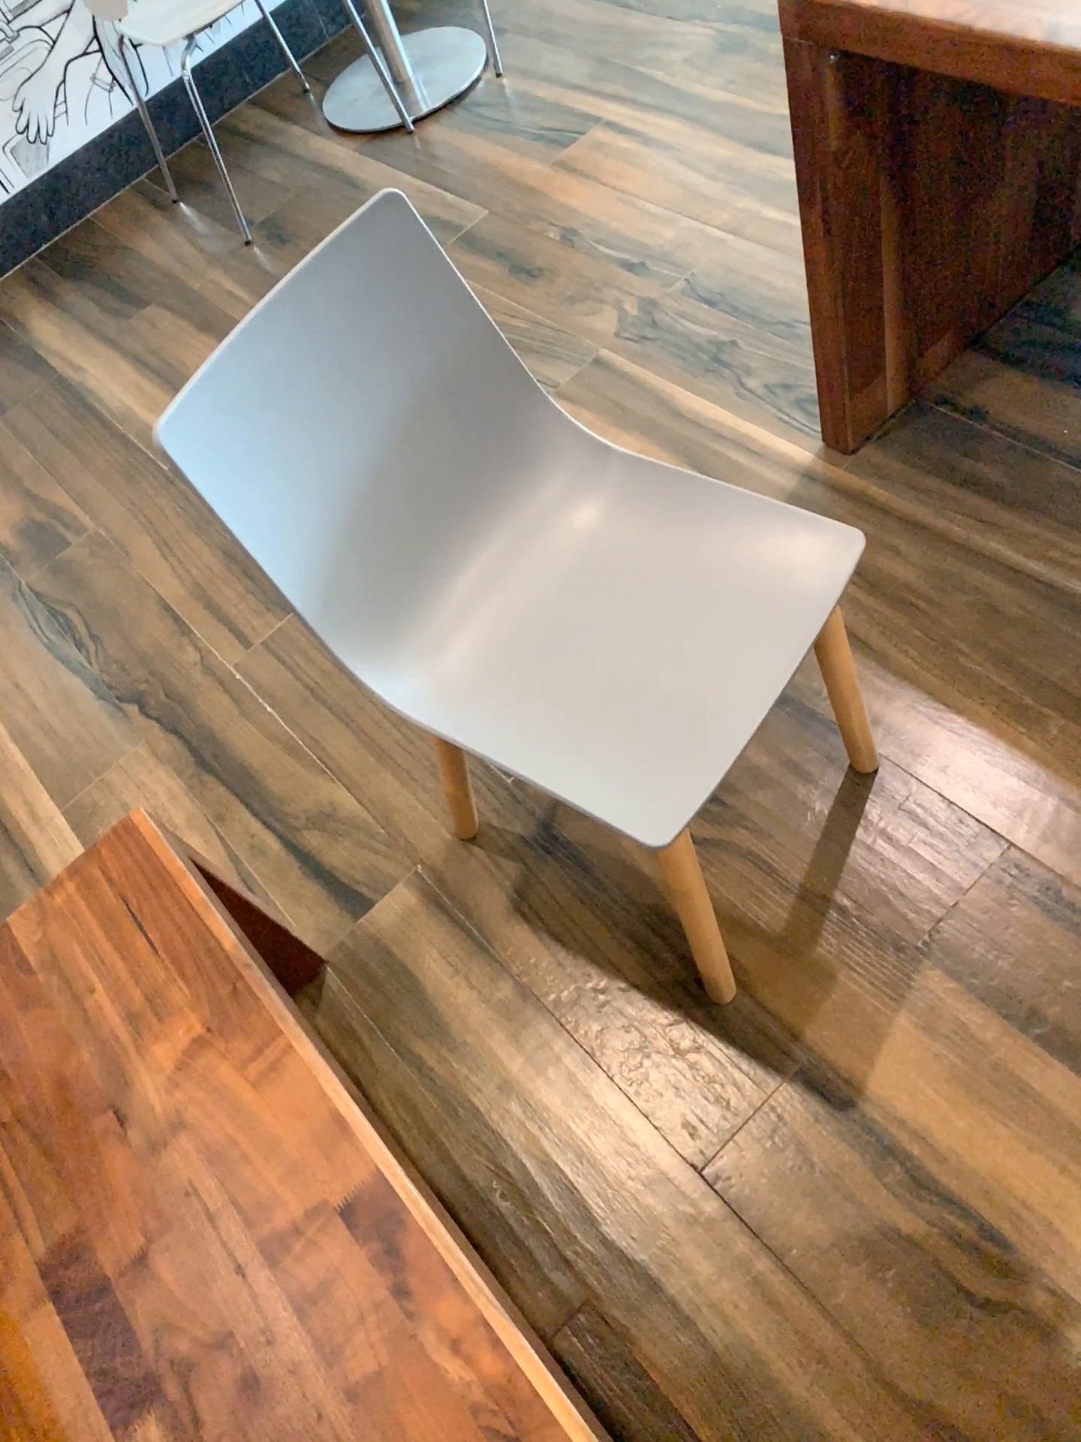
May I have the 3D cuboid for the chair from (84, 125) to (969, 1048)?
[{"bbox_3d":[0.056,-0.119,1.171,0.563,0.695,0.501,28,71,32],"label":"chair"}]
